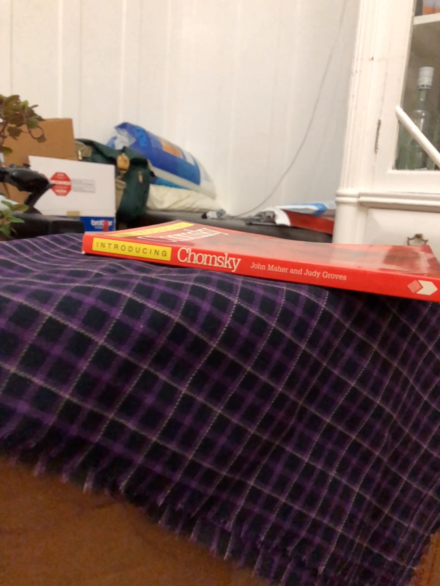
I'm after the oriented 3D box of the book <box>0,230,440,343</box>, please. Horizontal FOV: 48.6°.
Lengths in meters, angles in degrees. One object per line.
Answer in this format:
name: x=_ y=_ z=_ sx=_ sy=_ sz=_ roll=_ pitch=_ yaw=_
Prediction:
book: x=0.014 y=-0.018 z=0.319 sx=0.240 sy=0.020 sz=0.181 roll=7 pitch=11 yaw=17
